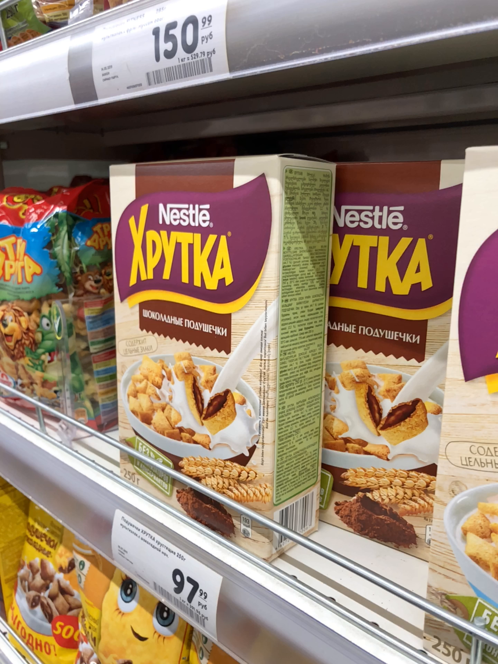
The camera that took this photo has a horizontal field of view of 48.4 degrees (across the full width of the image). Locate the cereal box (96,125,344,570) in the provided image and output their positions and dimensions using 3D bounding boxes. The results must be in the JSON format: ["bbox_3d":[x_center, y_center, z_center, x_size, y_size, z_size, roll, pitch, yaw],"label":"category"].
[{"bbox_3d":[-0.028,0.000,0.334,0.160,0.219,0.040,13,16,42],"label":"cereal box"}]
